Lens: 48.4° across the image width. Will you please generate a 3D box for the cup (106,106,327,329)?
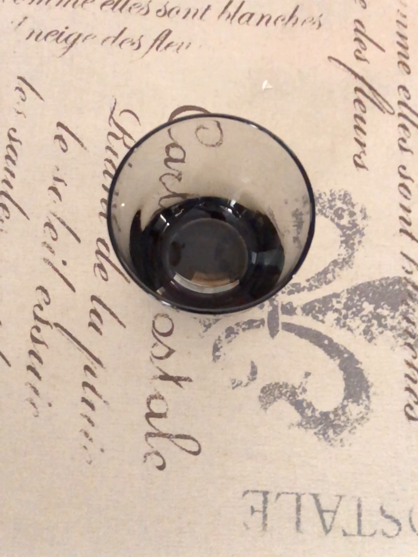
[{"bbox_3d":[0.002,-0.022,0.239,0.088,0.093,0.087,0,80,-2],"label":"cup"}]
